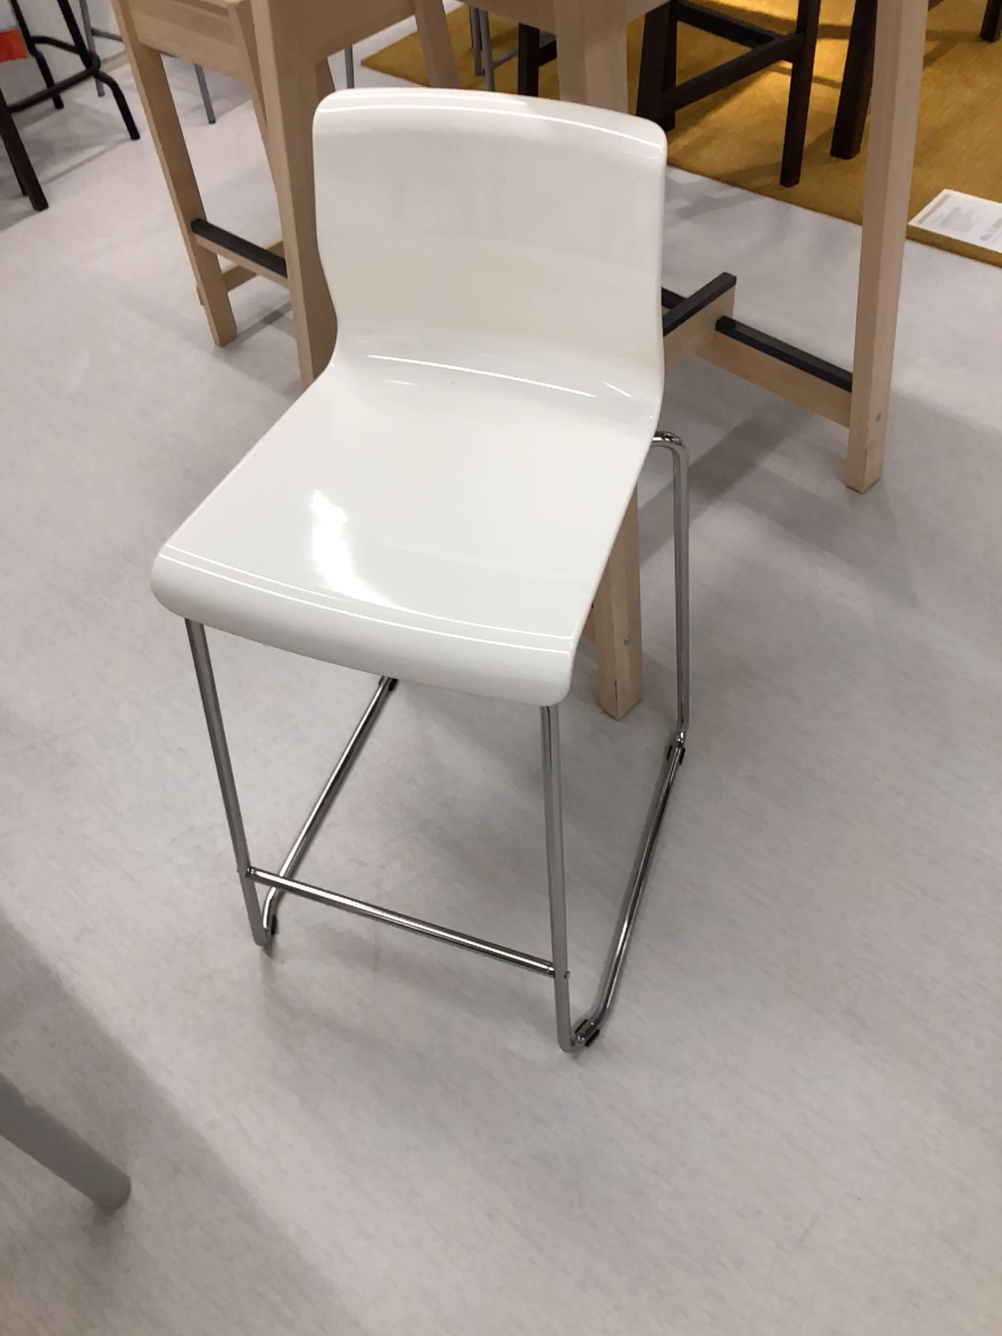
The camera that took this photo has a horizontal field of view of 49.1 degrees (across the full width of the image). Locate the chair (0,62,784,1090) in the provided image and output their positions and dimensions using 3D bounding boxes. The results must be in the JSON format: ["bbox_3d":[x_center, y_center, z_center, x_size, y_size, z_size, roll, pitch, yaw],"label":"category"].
[{"bbox_3d":[-0.064,-0.048,1.124,0.500,0.825,0.553,13,54,15],"label":"chair"}]
